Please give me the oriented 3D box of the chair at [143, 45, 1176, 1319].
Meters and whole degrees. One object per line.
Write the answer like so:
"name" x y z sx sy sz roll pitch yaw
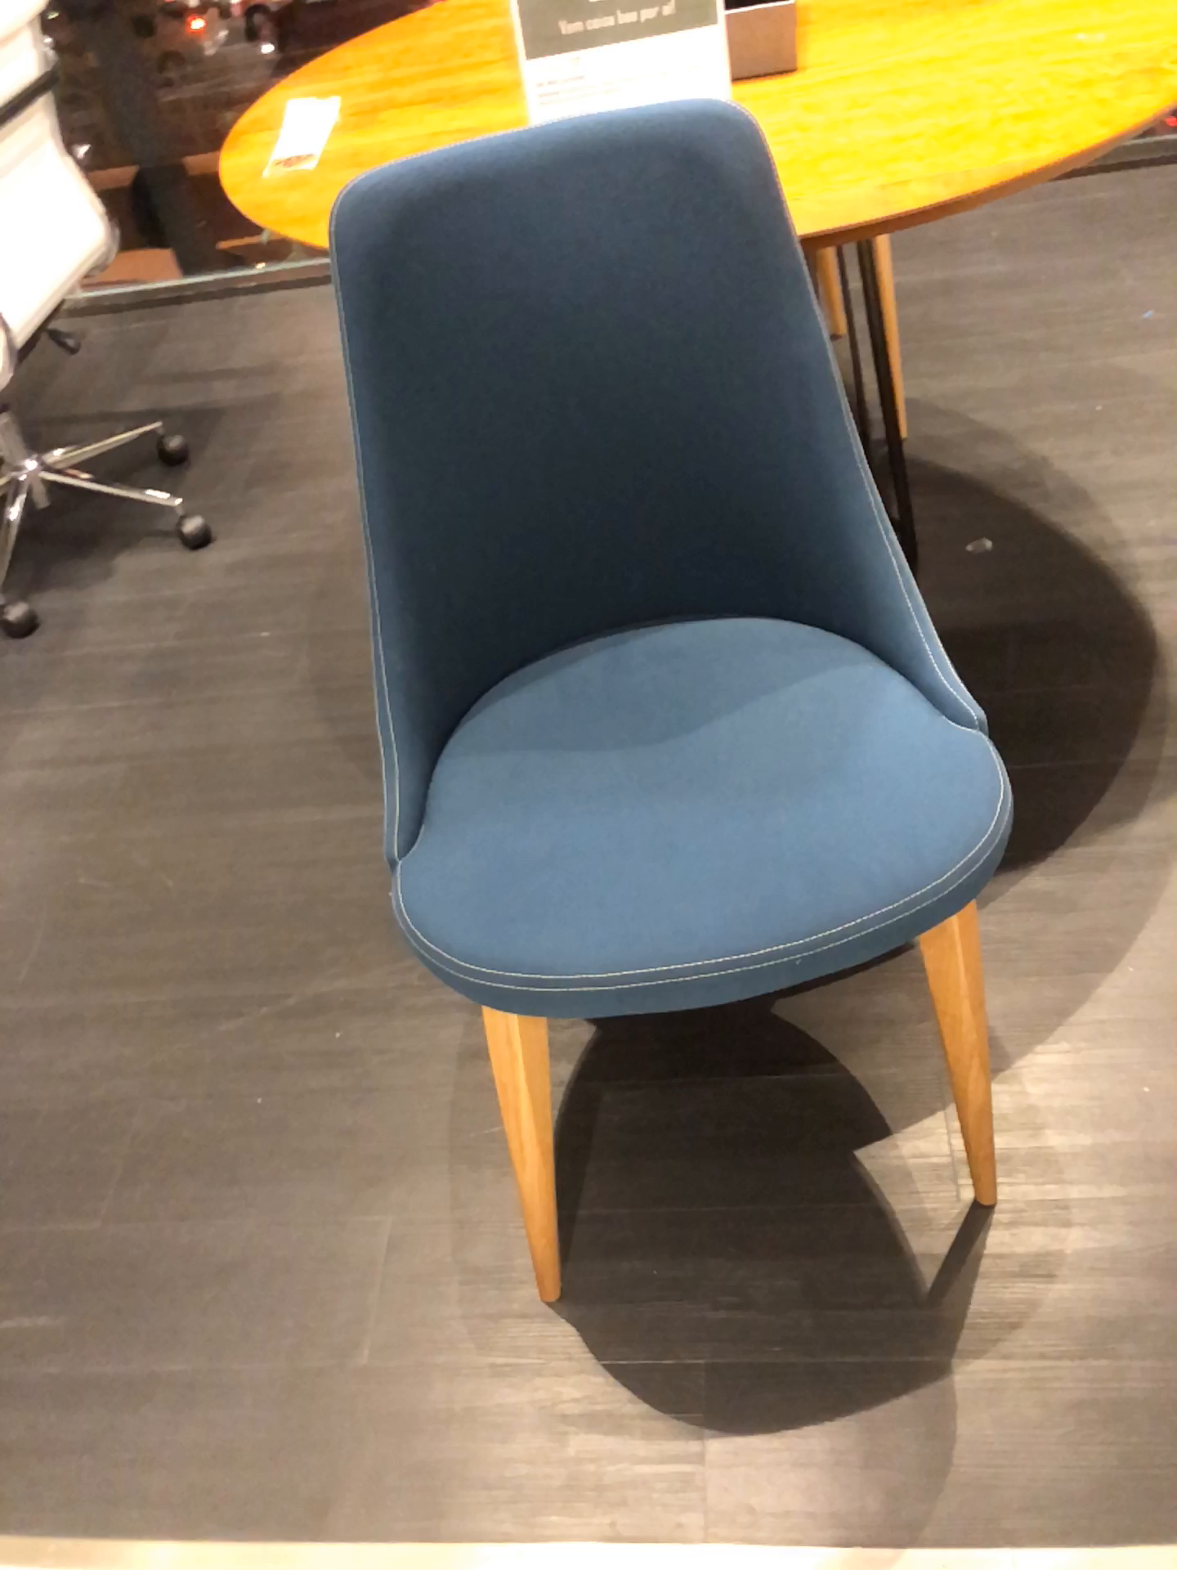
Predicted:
"chair" 0.065 -0.047 1.117 0.520 0.854 0.544 -12 42 0
